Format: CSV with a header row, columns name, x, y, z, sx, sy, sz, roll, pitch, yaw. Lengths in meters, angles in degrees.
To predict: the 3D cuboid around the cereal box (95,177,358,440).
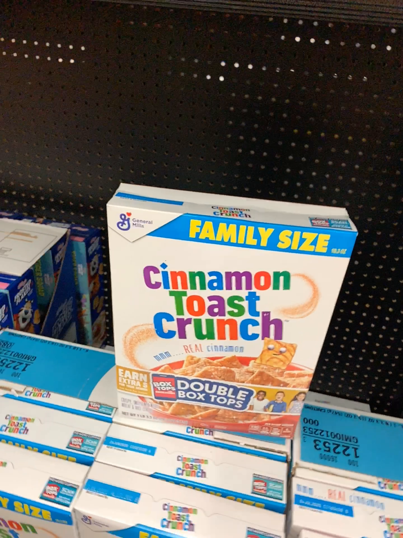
name,x,y,z,sx,sy,sz,roll,pitch,yaw
cereal box,0.014,0.060,0.481,0.240,0.298,0.060,7,32,4
